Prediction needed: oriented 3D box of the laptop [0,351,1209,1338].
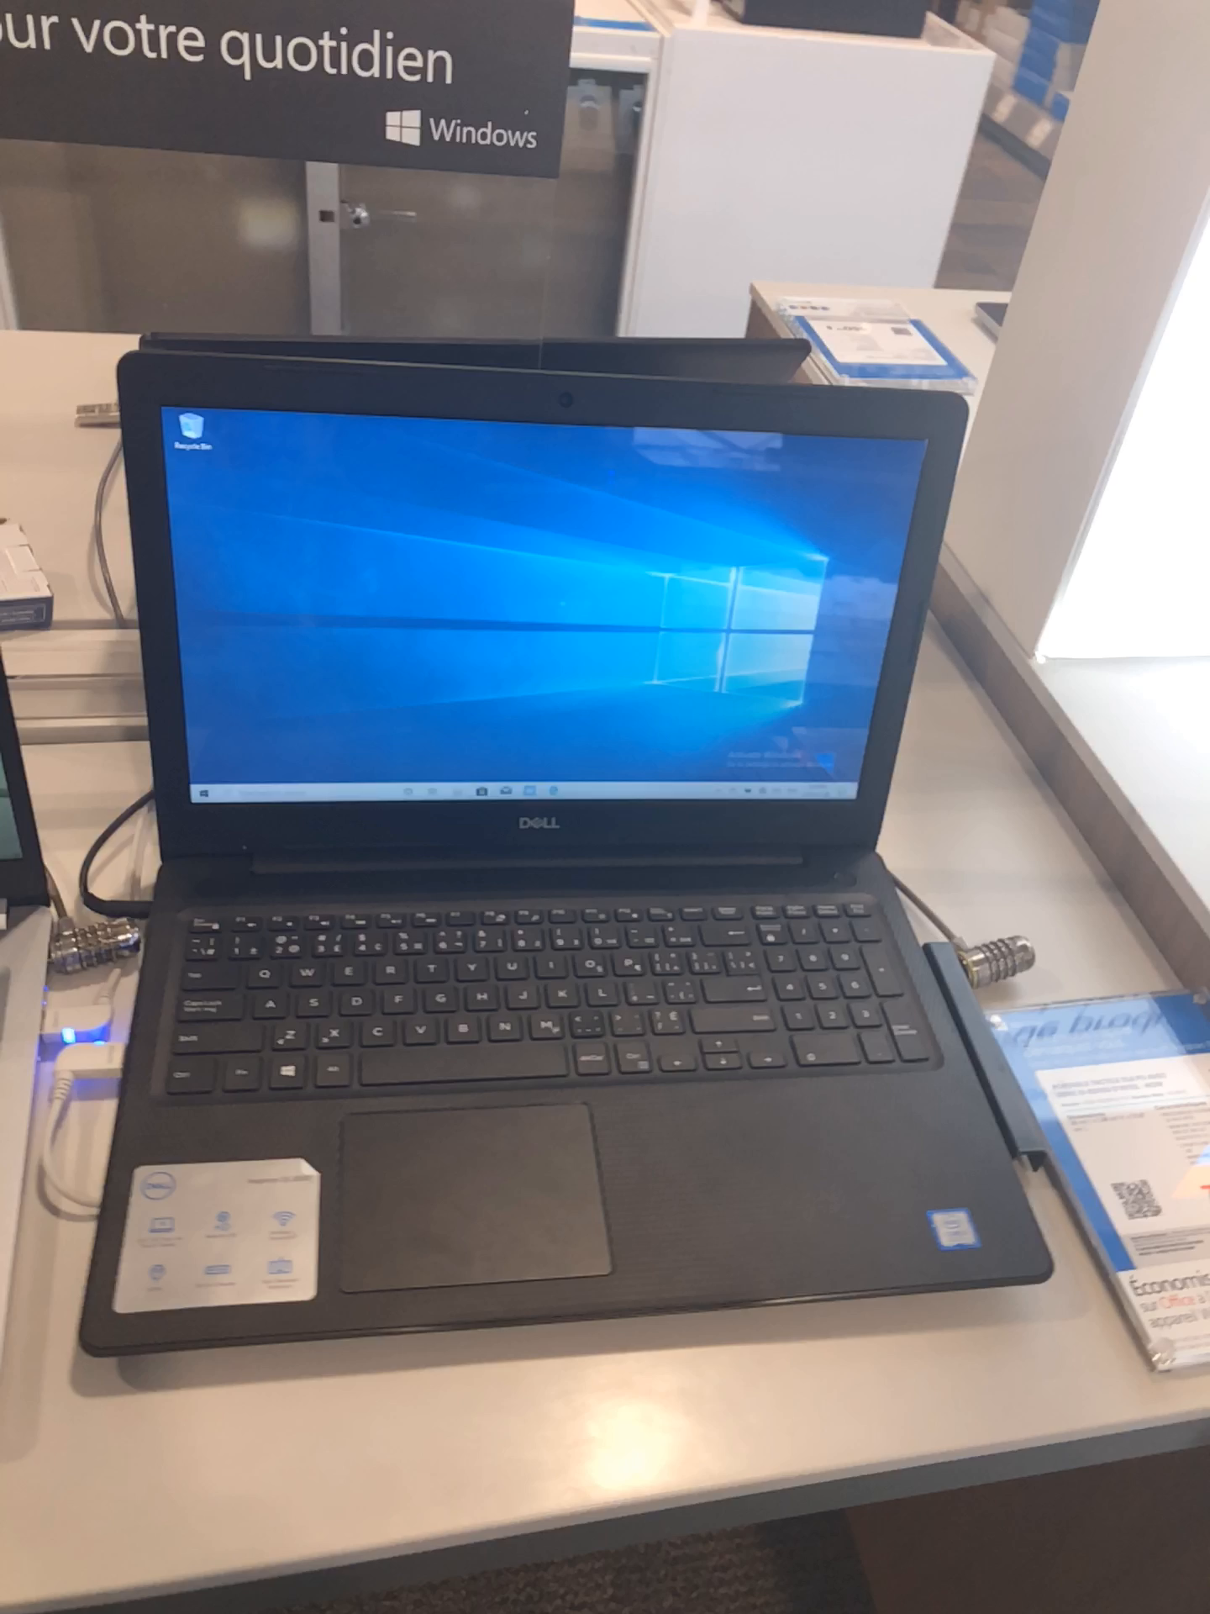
[{"bbox_3d":[-0.013,-0.001,0.548,0.368,0.230,0.311,0,41,-11],"label":"laptop"}]
